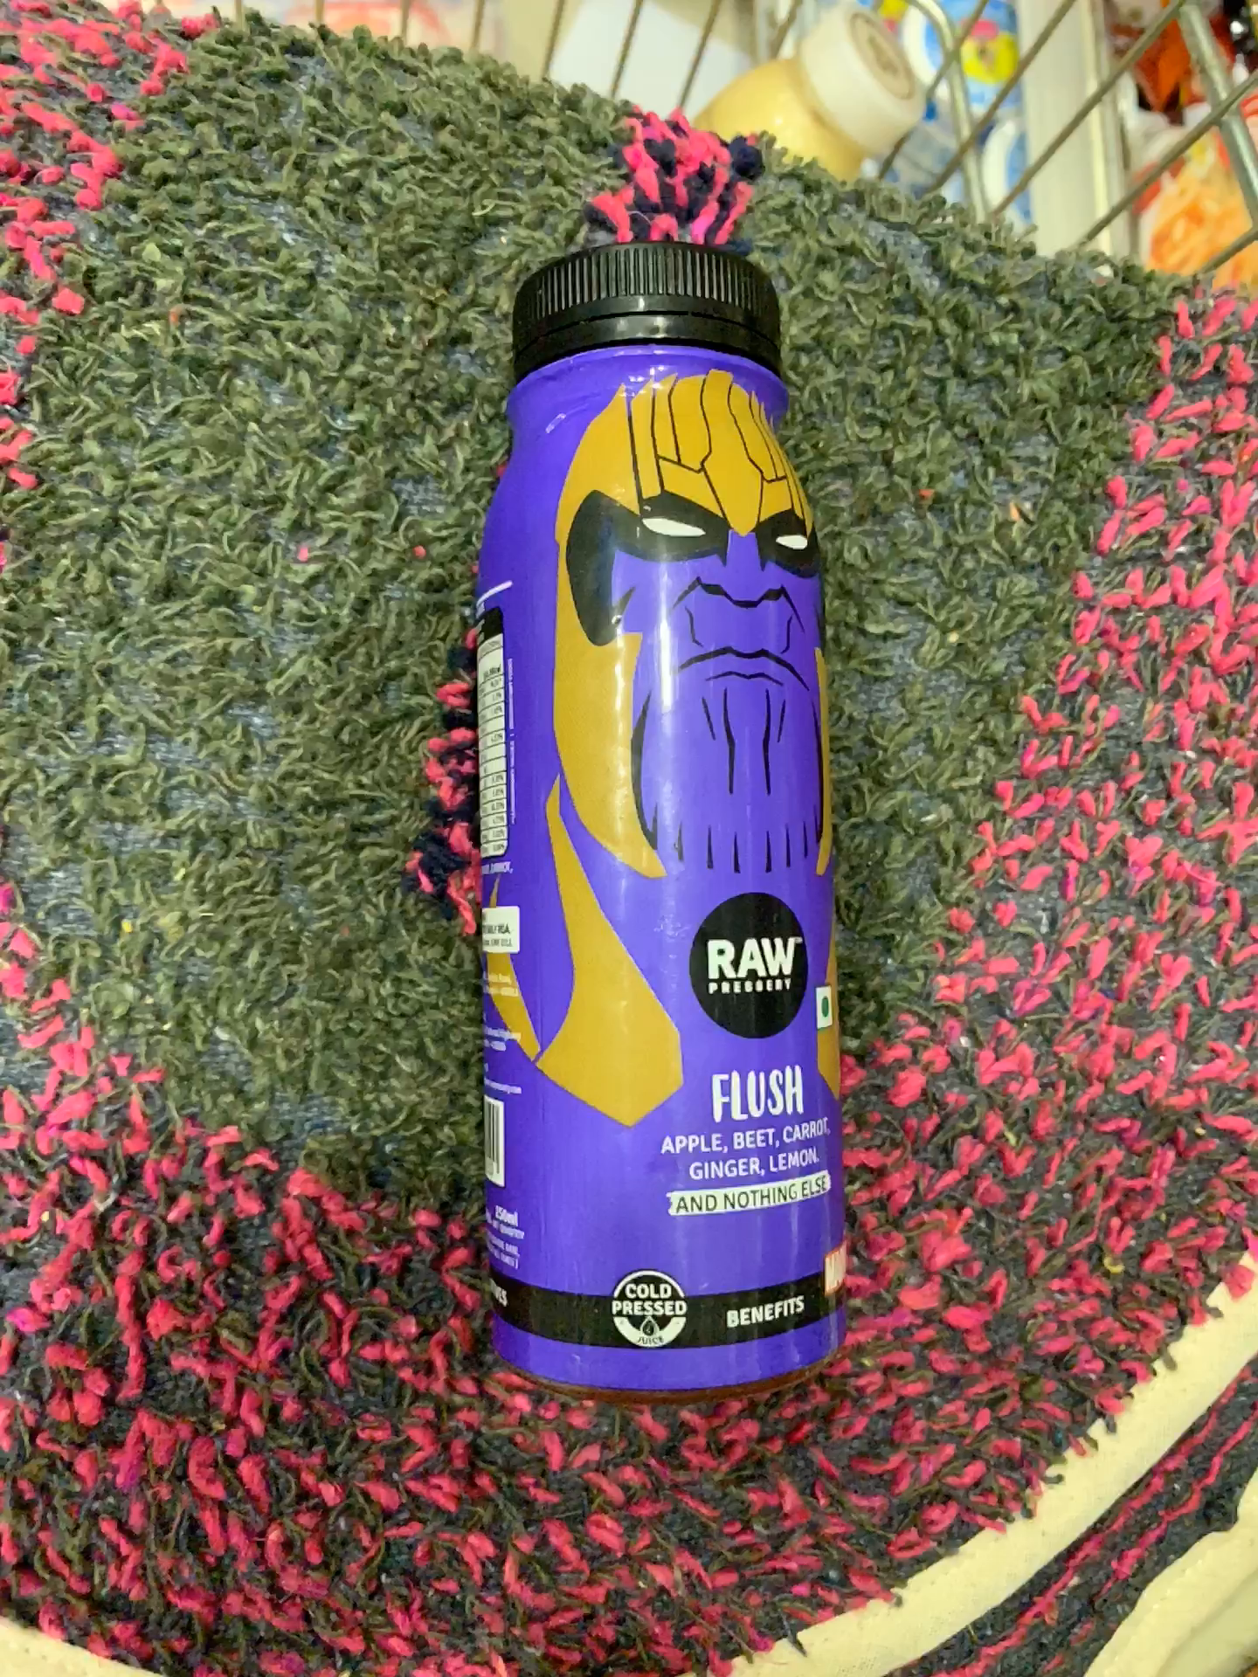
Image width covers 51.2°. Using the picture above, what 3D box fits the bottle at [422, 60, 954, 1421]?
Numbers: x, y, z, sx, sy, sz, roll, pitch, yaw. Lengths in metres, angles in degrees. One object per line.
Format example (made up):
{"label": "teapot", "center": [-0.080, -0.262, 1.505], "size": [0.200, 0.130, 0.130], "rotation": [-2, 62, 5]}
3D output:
{"label": "bottle", "center": [0.005, -0.013, 0.196], "size": [0.060, 0.050, 0.170], "rotation": [1, 84, -22]}
